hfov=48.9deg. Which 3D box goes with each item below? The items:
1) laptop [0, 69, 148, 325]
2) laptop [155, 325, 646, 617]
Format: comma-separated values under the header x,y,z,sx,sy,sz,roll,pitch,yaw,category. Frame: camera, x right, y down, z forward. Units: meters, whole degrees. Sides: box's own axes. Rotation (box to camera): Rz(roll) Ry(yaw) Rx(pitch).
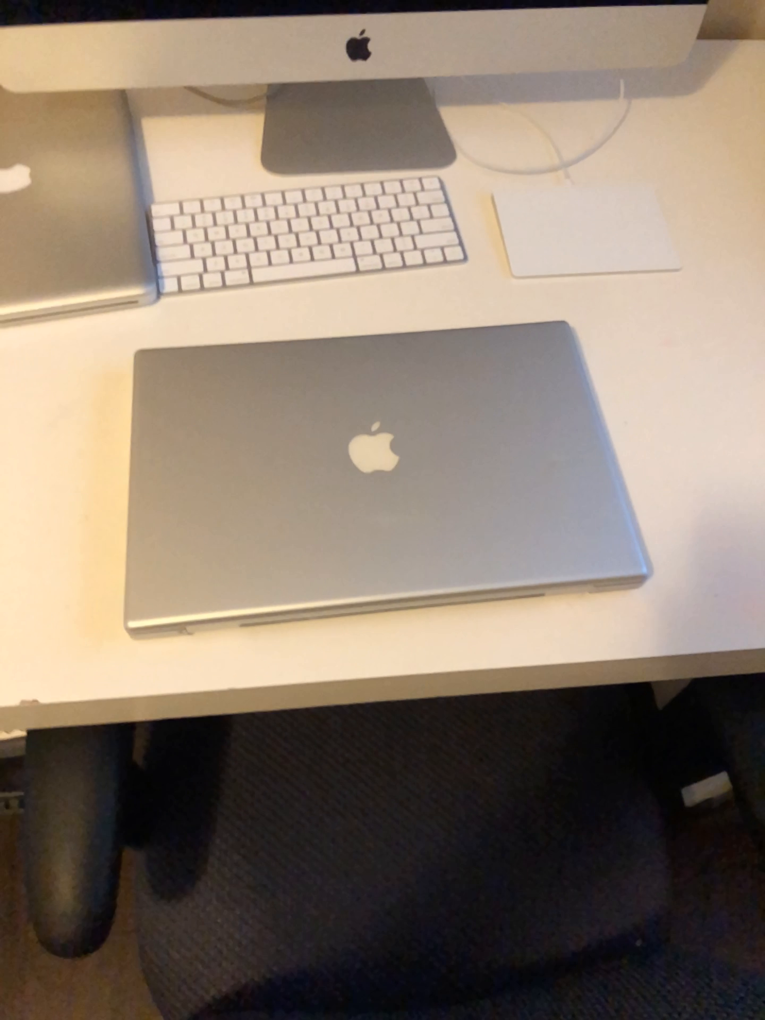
x,y,z,sx,sy,sz,roll,pitch,yaw,category
-0.317,-0.292,0.750,0.200,0.009,0.279,-9,61,-11,laptop
0.007,-0.040,0.617,0.332,0.005,0.215,-5,61,-6,laptop
